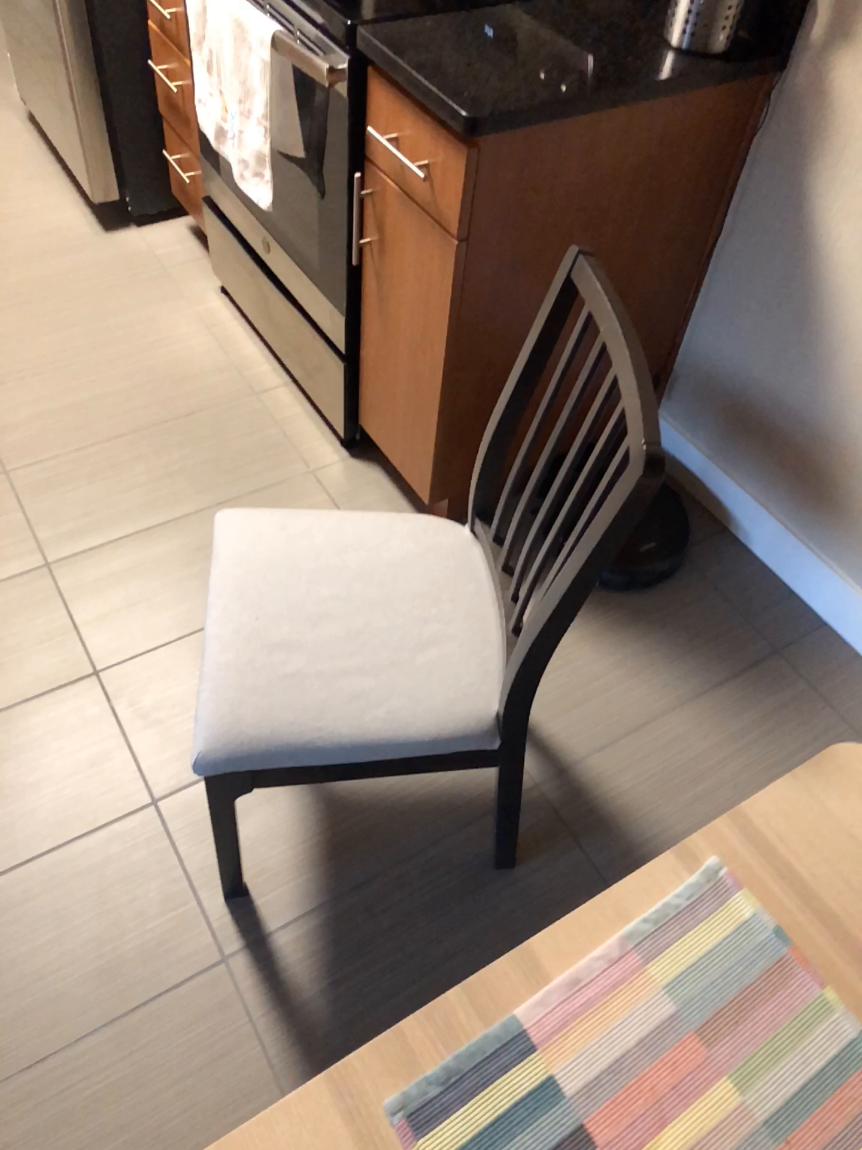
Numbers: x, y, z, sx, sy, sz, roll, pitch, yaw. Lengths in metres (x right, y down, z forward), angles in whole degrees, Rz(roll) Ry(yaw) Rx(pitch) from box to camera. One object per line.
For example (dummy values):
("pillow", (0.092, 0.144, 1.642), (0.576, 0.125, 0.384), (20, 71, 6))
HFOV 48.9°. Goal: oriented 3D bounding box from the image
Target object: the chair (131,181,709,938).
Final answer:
("chair", (-0.056, 0.091, 1.417), (0.510, 1.125, 0.482), (3, 49, -4))
